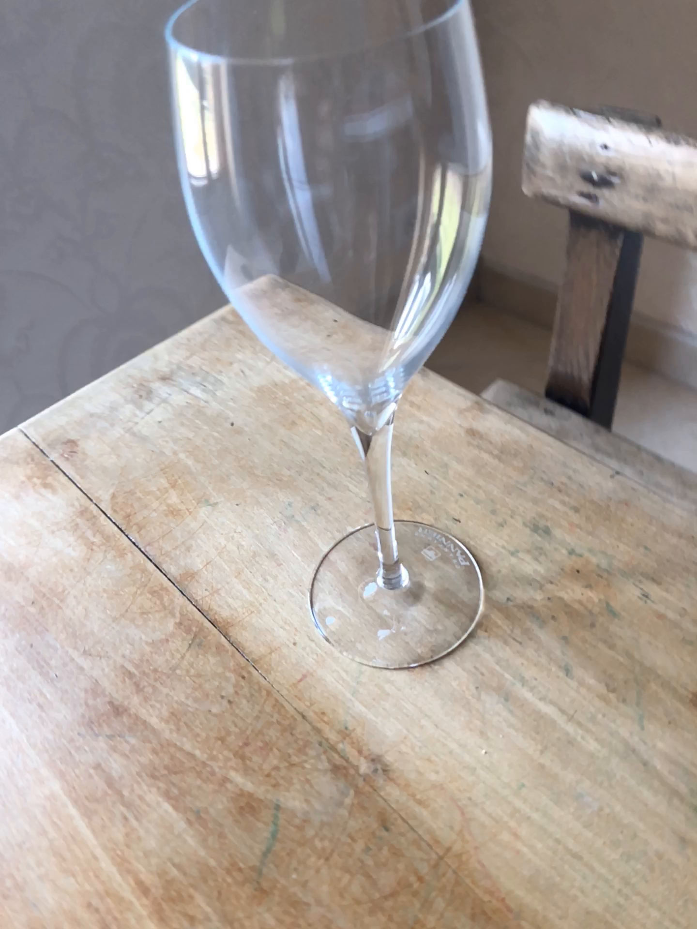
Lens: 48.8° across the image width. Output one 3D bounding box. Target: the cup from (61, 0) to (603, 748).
[{"bbox_3d":[0.012,-0.014,0.225,0.080,0.209,0.080,-5,45,5],"label":"cup"}]
